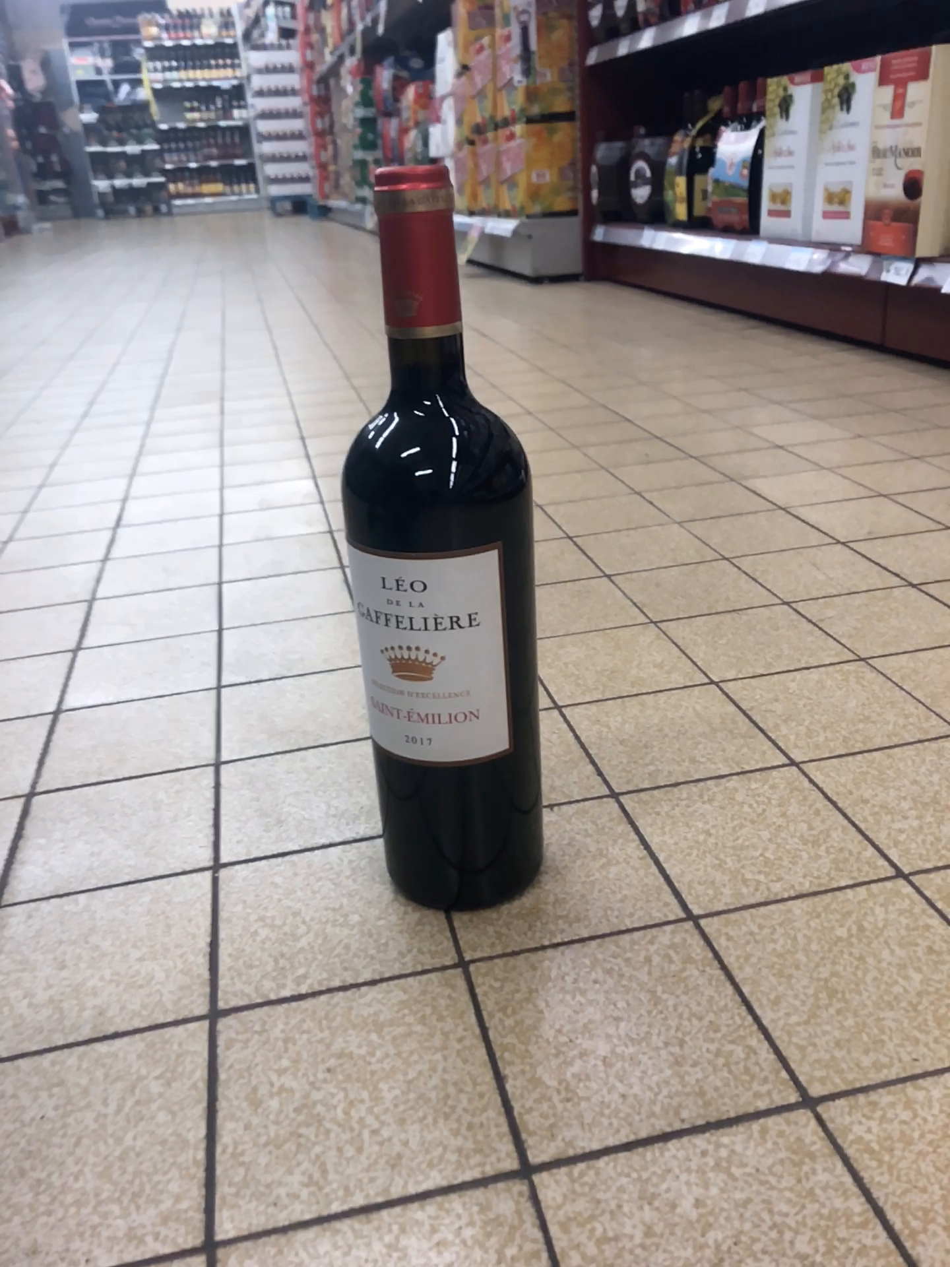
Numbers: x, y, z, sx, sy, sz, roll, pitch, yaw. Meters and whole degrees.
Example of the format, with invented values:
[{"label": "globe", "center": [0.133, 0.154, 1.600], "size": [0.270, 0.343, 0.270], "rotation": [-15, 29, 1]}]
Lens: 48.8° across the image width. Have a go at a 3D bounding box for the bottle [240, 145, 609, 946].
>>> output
[{"label": "bottle", "center": [-0.008, -0.033, 0.416], "size": [0.090, 0.287, 0.091], "rotation": [-3, 23, 1]}]
